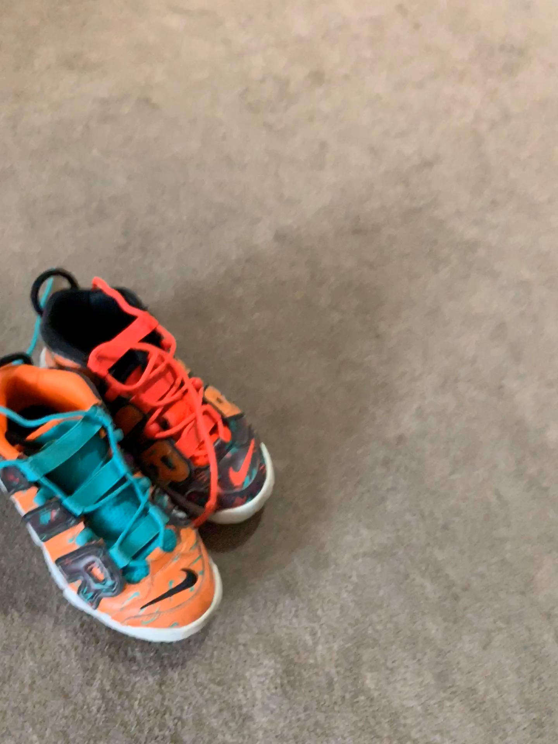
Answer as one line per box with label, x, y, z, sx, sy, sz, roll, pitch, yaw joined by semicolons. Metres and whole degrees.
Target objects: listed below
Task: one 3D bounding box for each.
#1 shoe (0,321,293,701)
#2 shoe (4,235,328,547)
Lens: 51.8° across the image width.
shoe;-0.121;0.096;0.421;0.250;0.089;0.101;44;63;12
shoe;-0.091;0.018;0.471;0.230;0.109;0.101;40;66;10
